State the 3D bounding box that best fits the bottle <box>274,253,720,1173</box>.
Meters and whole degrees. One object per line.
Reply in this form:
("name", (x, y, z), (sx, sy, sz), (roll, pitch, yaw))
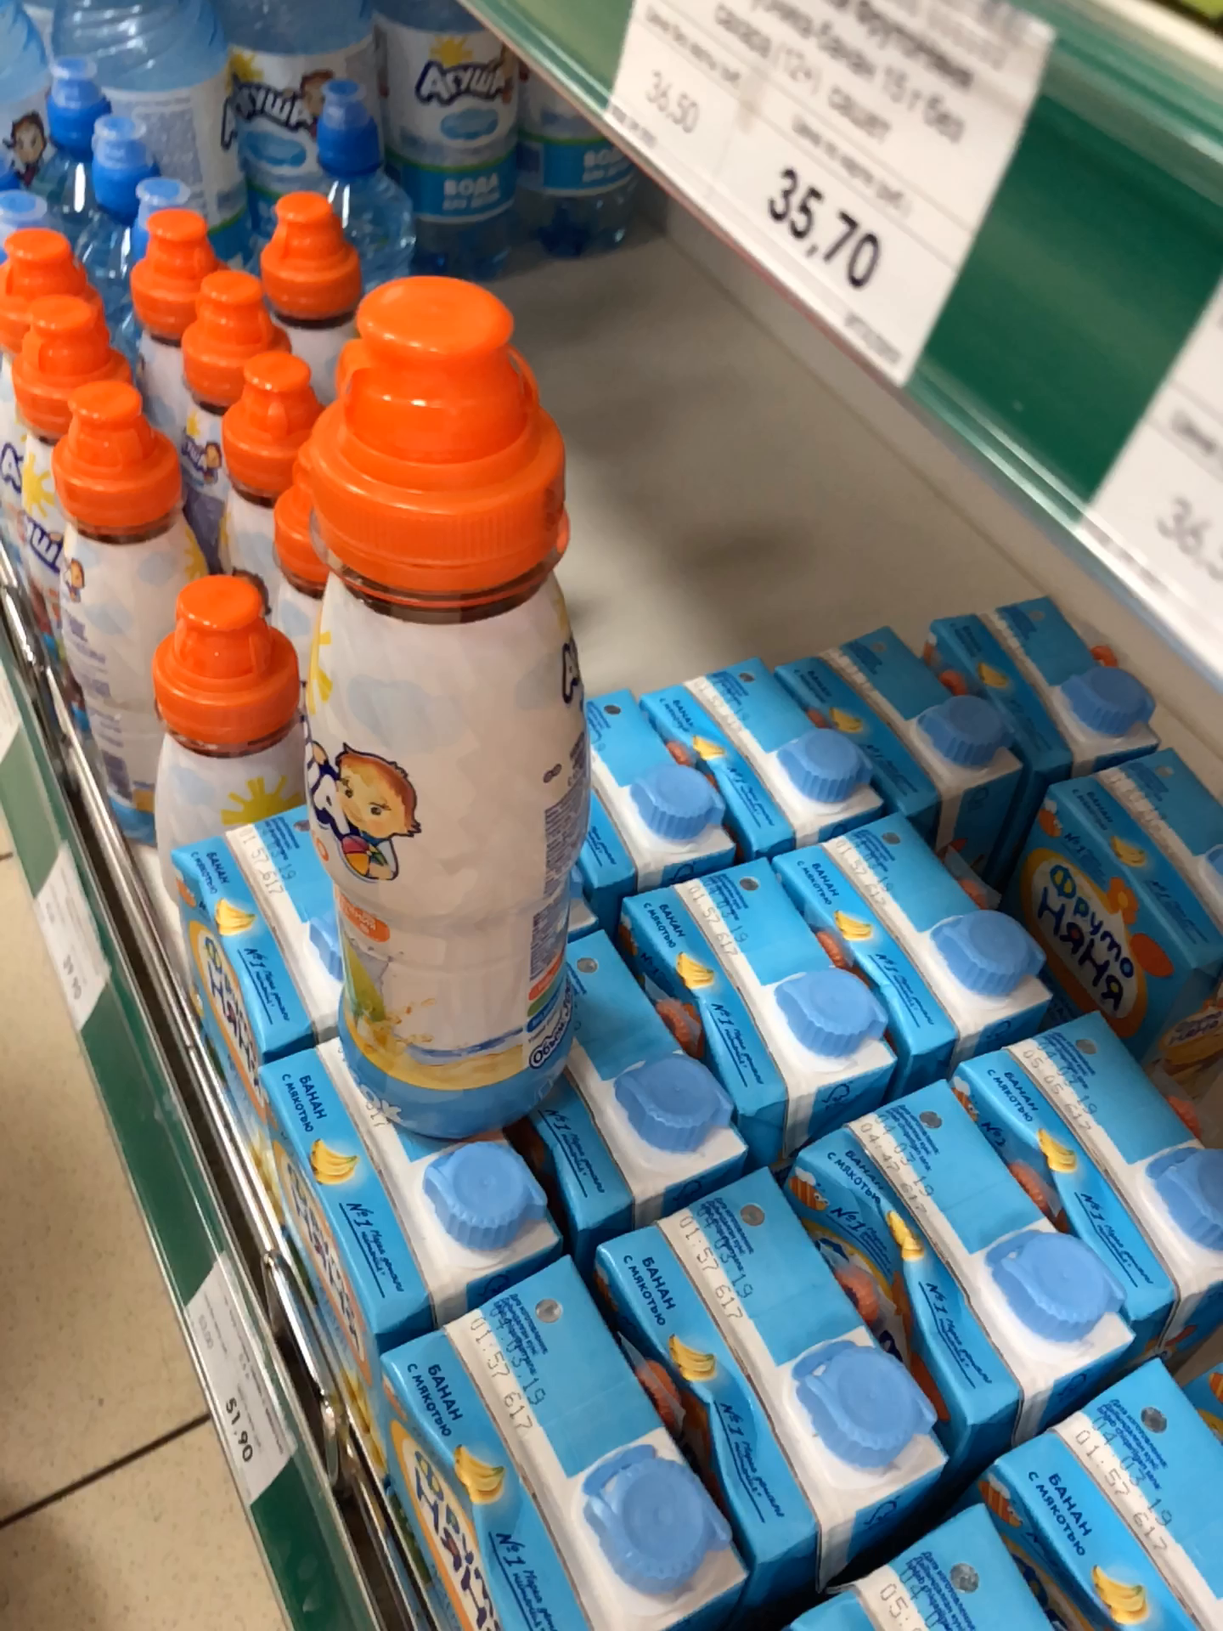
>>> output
("bottle", (-0.028, -0.004, 0.269), (0.053, 0.193, 0.056), (4, 49, -4))
